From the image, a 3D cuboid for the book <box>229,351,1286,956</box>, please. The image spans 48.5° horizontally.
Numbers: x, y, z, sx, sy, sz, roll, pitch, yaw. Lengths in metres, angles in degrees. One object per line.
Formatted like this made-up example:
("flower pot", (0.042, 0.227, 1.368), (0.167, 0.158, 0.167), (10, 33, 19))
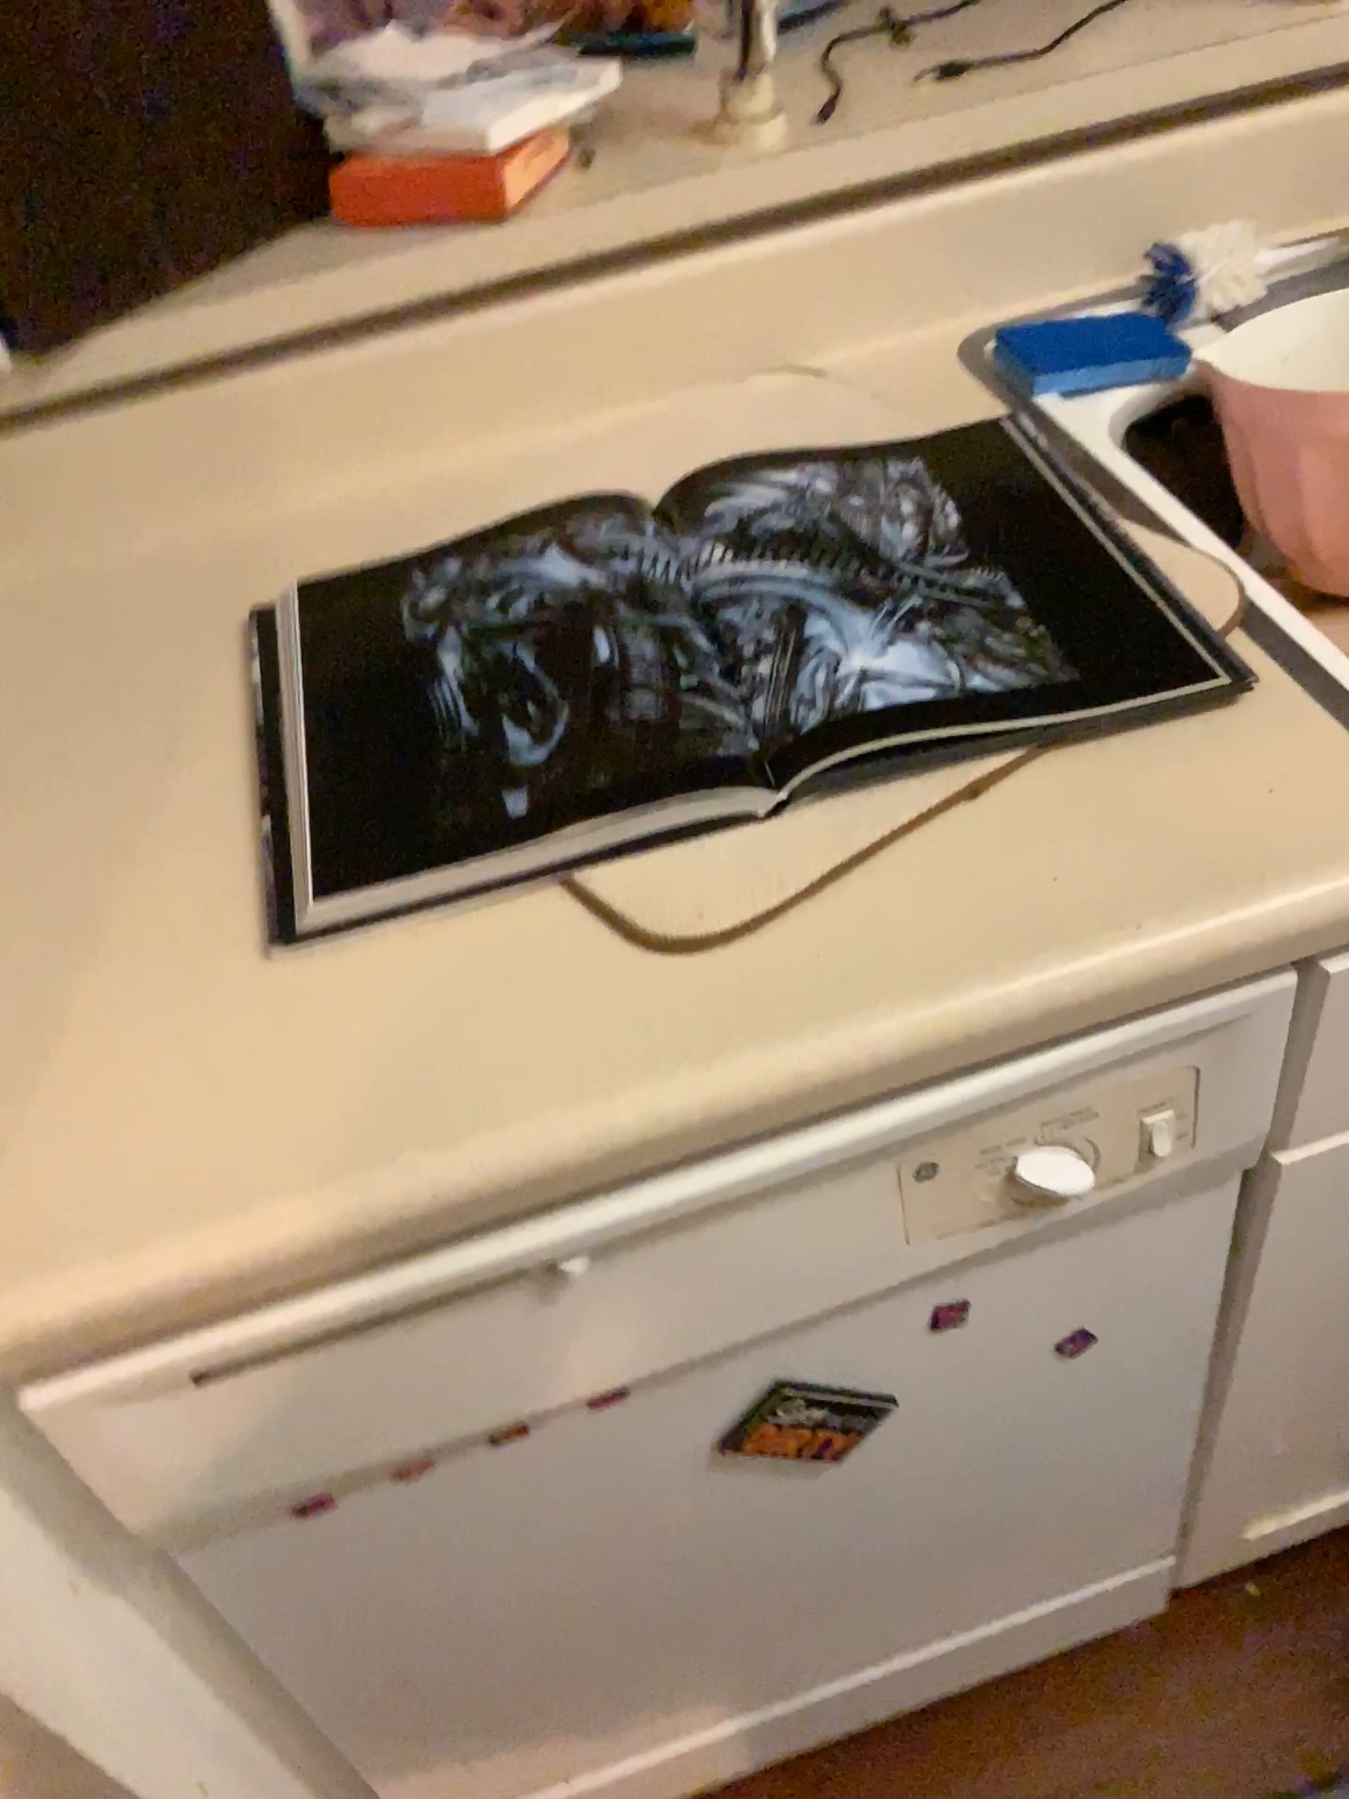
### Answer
("book", (0.012, -0.168, 0.867), (0.530, 0.040, 0.350), (-15, 44, -4))
